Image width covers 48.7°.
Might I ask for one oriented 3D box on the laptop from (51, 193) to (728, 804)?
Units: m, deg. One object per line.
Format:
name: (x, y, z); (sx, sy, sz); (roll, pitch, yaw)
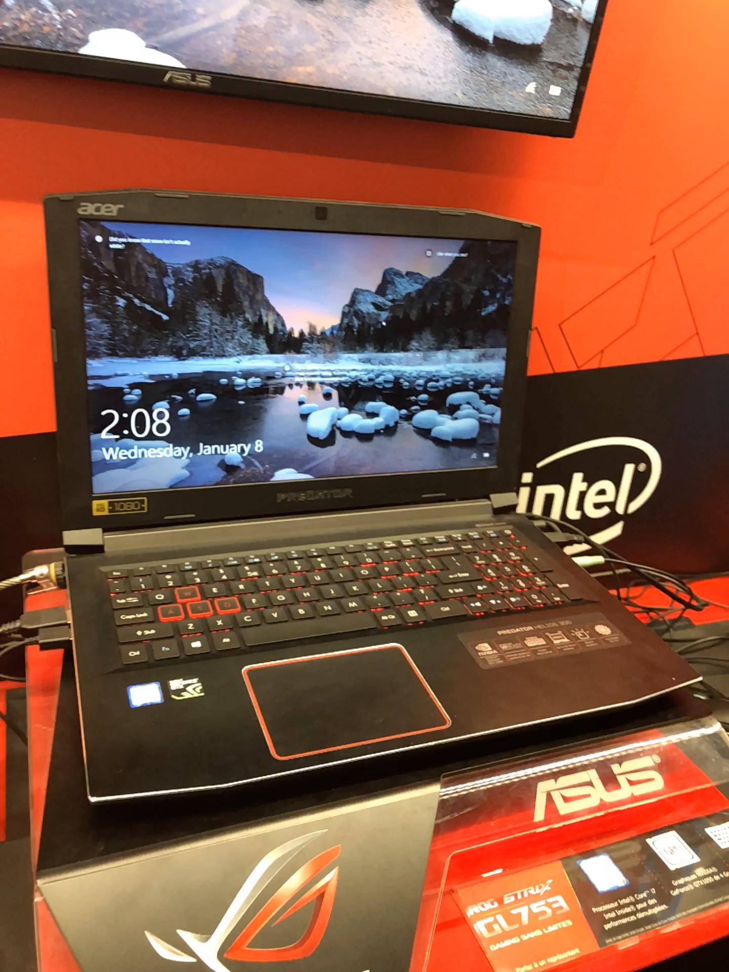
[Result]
laptop: (0.006, -0.035, 0.536); (0.385, 0.240, 0.295); (-4, 26, -21)
